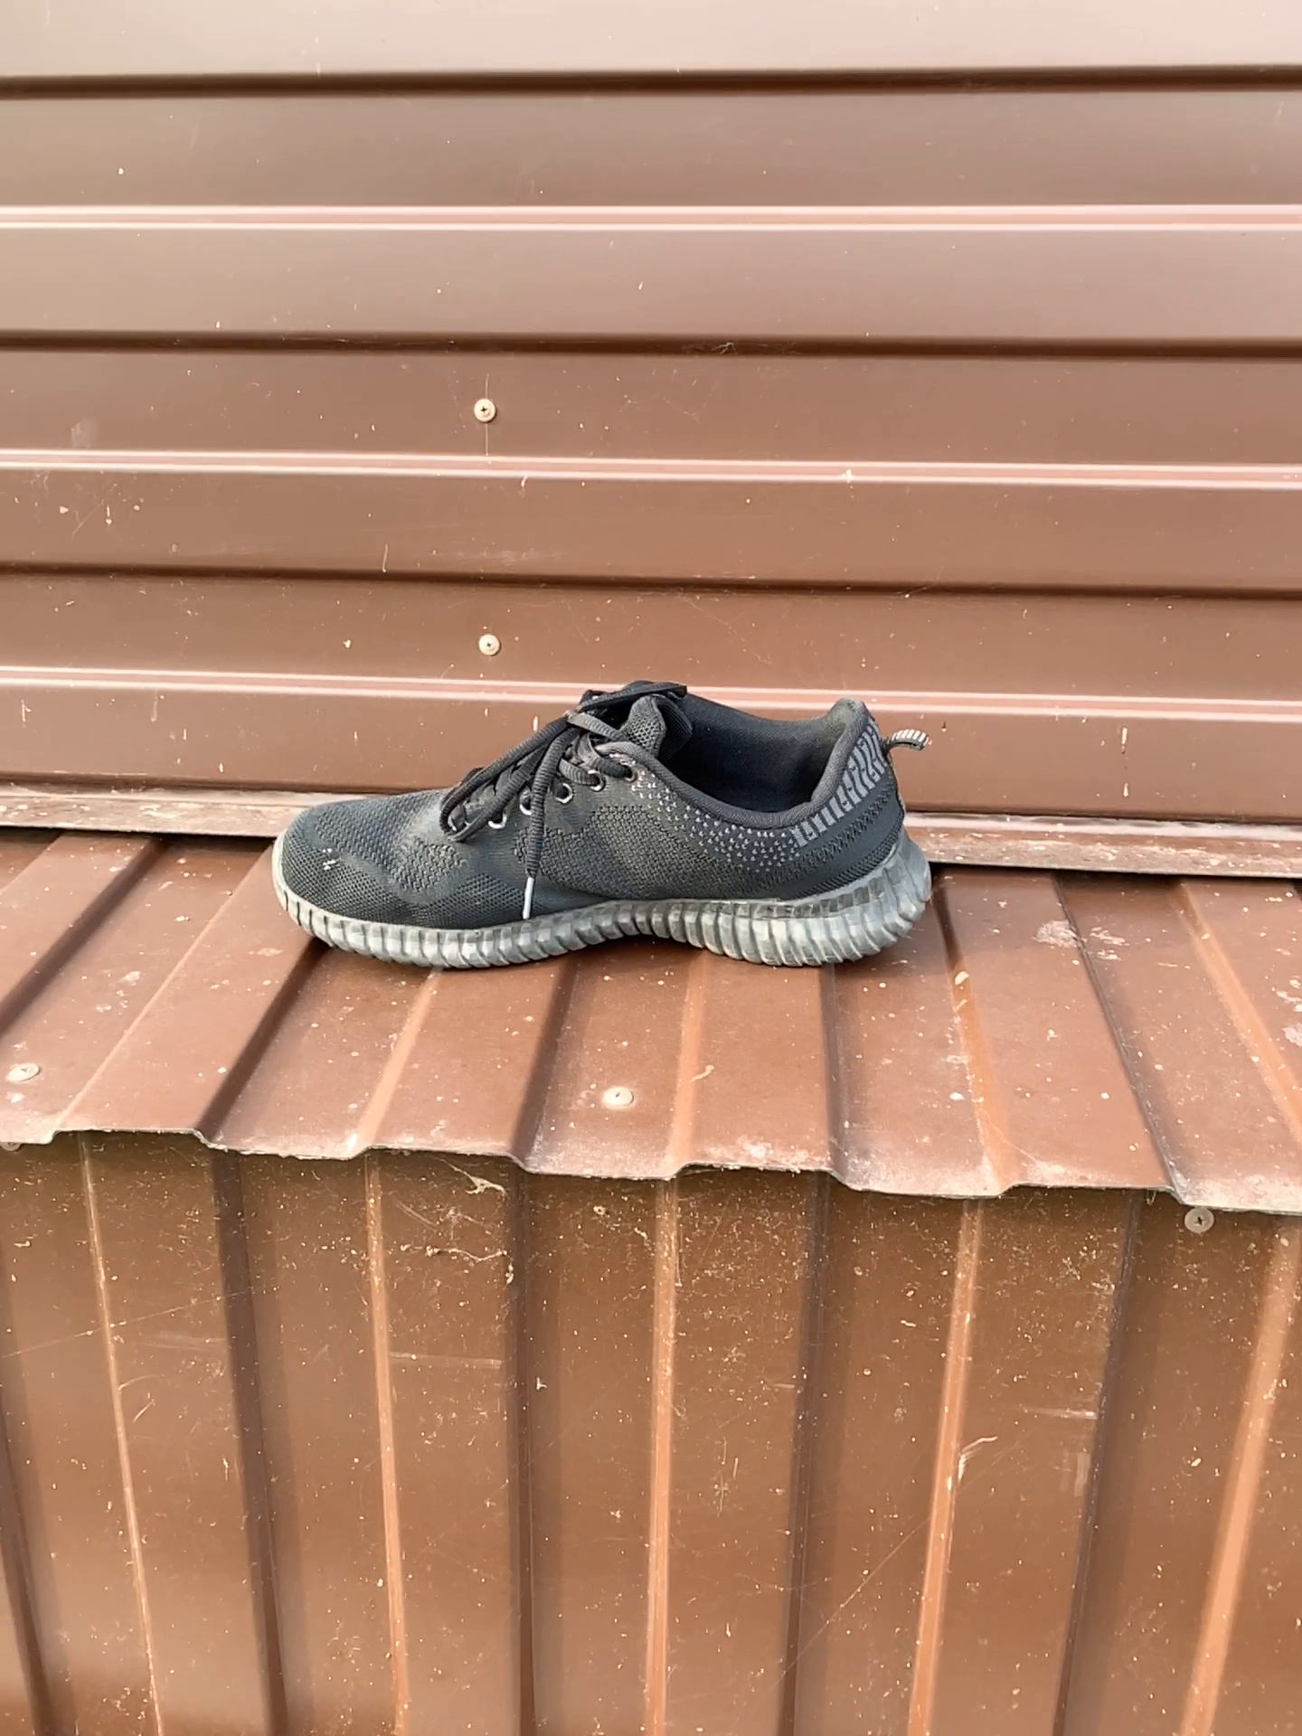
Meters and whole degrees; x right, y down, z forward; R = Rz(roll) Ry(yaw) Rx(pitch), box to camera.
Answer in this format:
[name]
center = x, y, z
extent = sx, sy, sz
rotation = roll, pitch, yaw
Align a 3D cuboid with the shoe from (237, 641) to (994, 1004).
[shoe]
center = -0.013, -0.025, 0.609
extent = 0.300, 0.119, 0.121
rotation = 1, 28, 1
